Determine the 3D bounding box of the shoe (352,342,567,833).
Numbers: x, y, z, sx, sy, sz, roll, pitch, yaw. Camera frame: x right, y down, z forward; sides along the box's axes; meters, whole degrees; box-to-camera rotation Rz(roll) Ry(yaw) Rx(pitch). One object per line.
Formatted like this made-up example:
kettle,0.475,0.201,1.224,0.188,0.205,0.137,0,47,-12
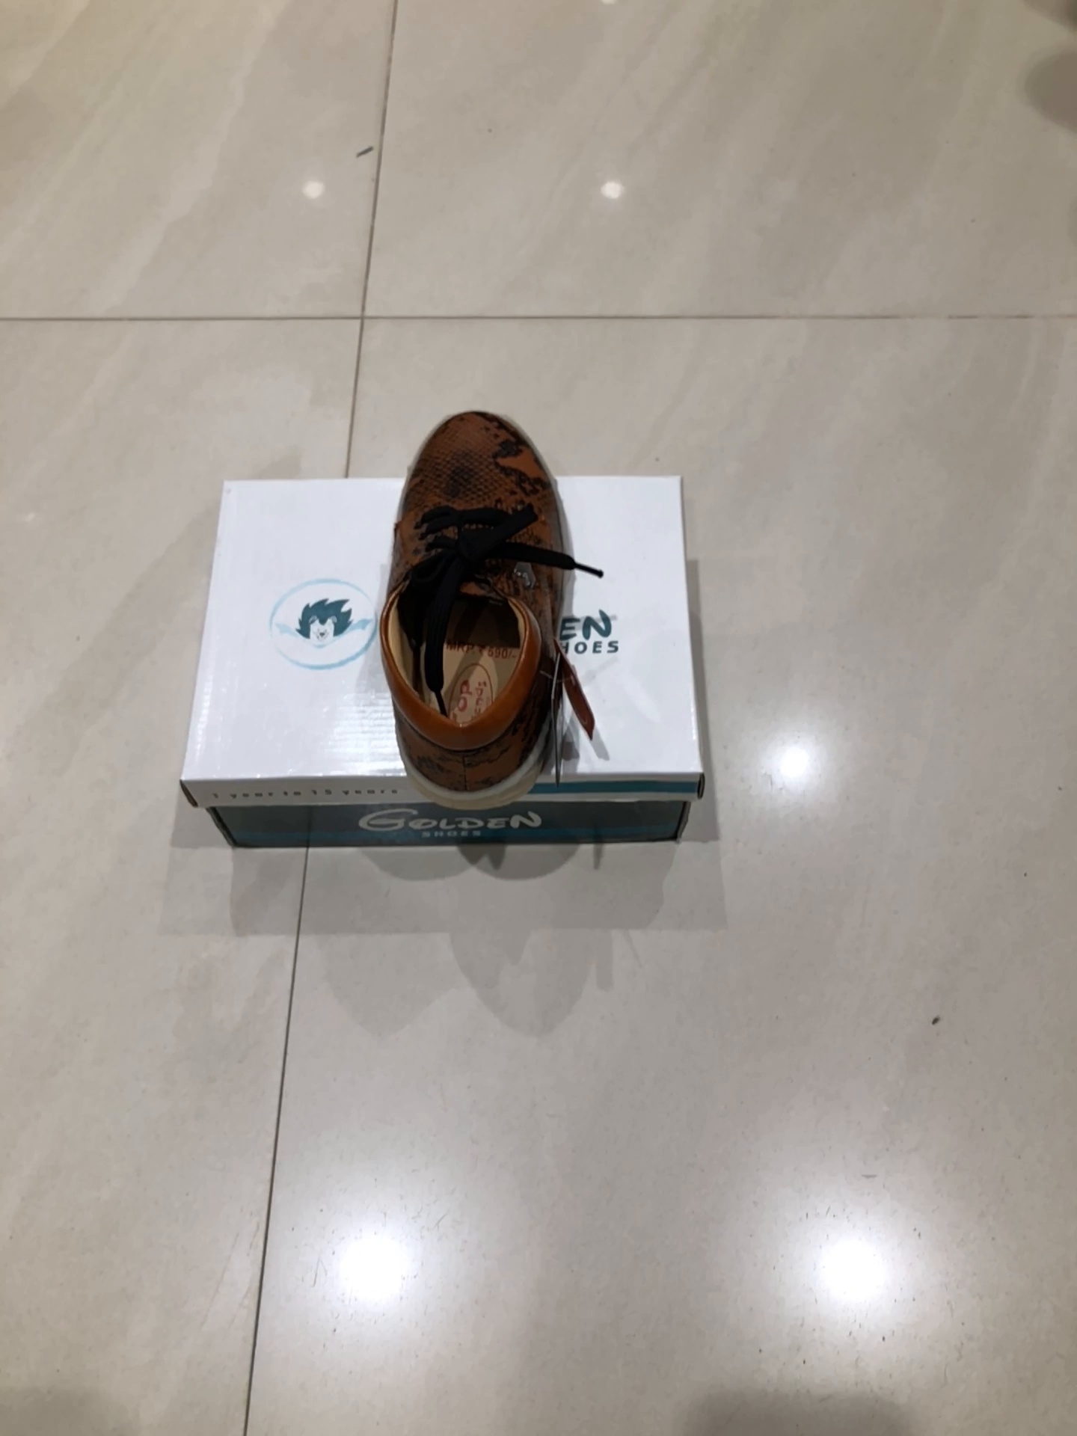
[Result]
shoe,-0.028,-0.059,0.529,0.080,0.090,0.201,0,63,1
